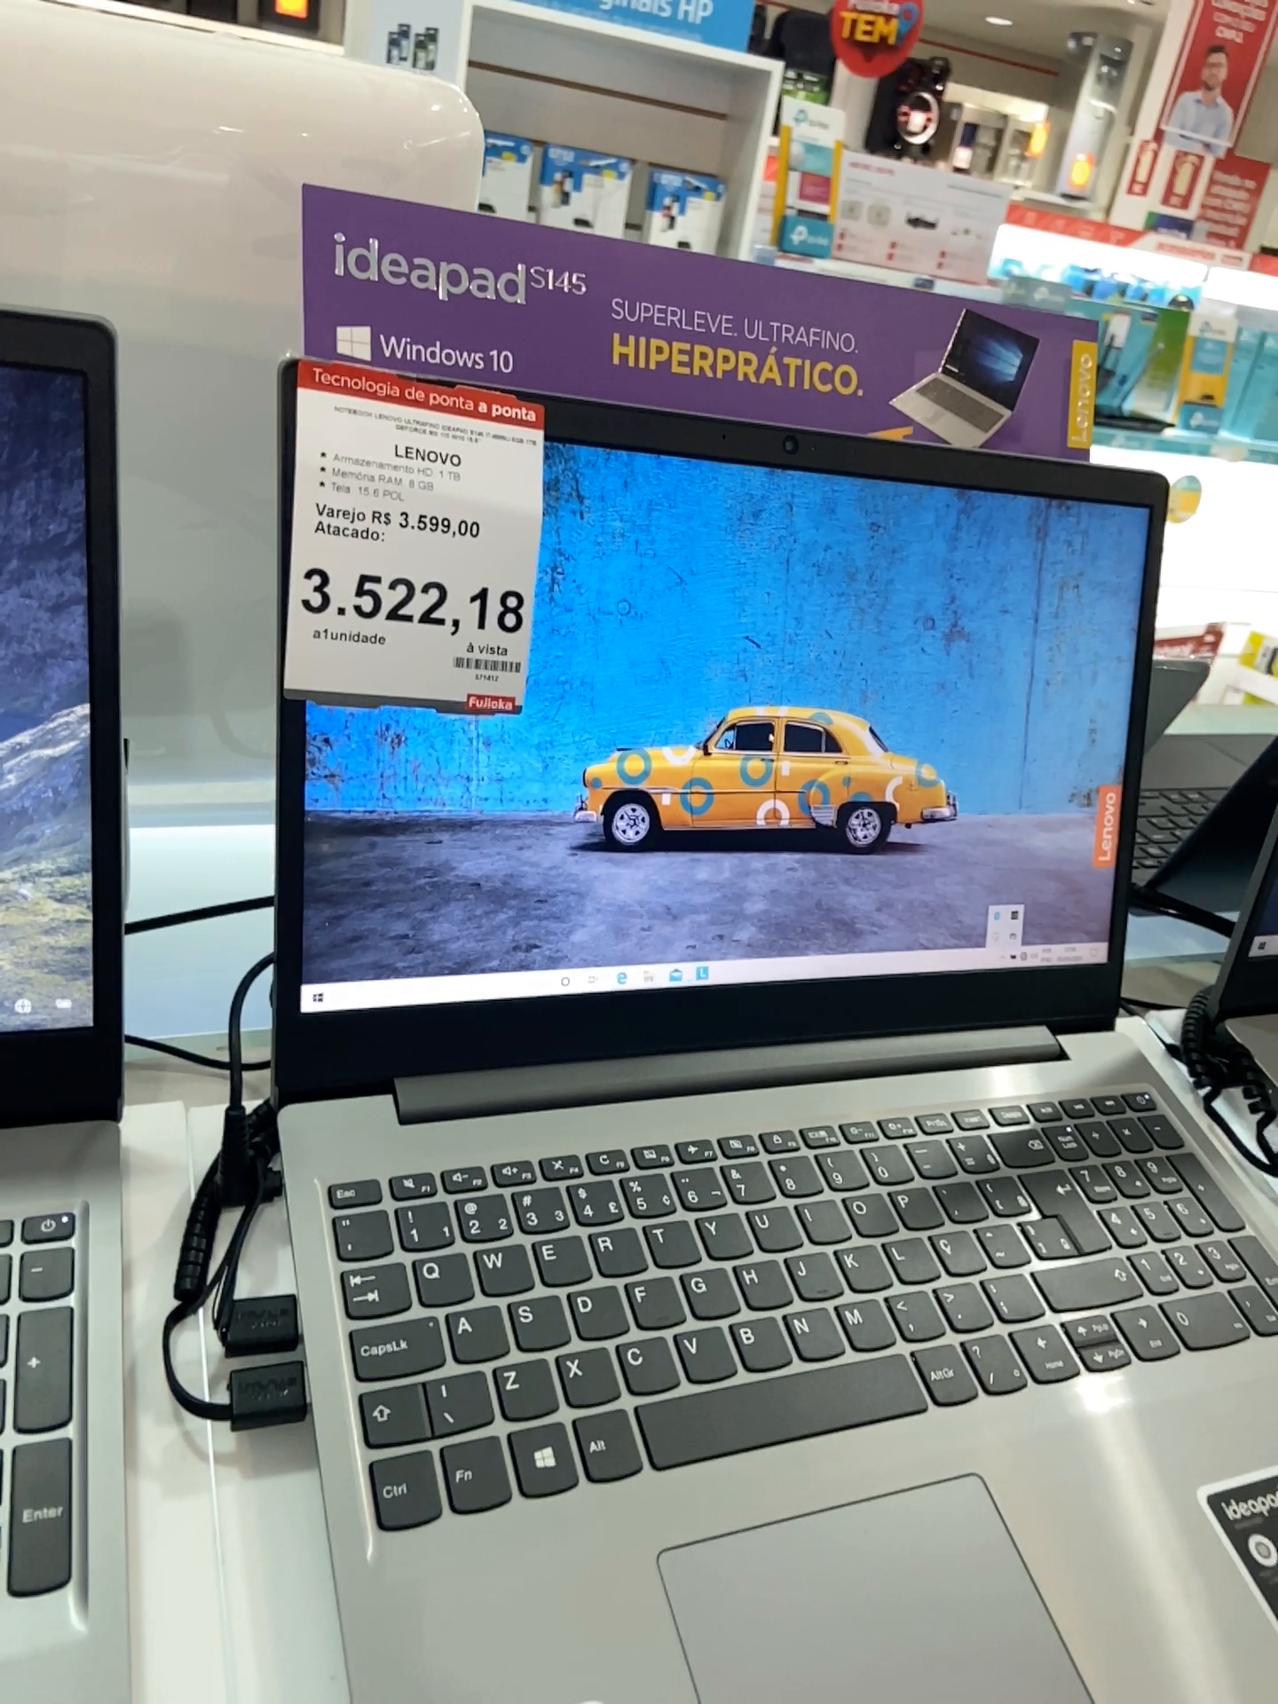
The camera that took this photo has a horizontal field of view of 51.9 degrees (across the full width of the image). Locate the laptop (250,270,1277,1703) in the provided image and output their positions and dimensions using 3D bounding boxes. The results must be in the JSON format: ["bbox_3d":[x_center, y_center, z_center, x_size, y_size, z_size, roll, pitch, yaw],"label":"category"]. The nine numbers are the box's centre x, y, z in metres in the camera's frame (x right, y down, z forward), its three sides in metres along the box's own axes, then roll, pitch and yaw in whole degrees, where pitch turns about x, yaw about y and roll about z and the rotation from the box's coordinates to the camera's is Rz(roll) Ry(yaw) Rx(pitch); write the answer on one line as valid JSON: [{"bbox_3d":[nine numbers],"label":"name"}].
[{"bbox_3d":[0.080,0.020,0.397,0.347,0.209,0.366,-1,37,-22],"label":"laptop"}]
